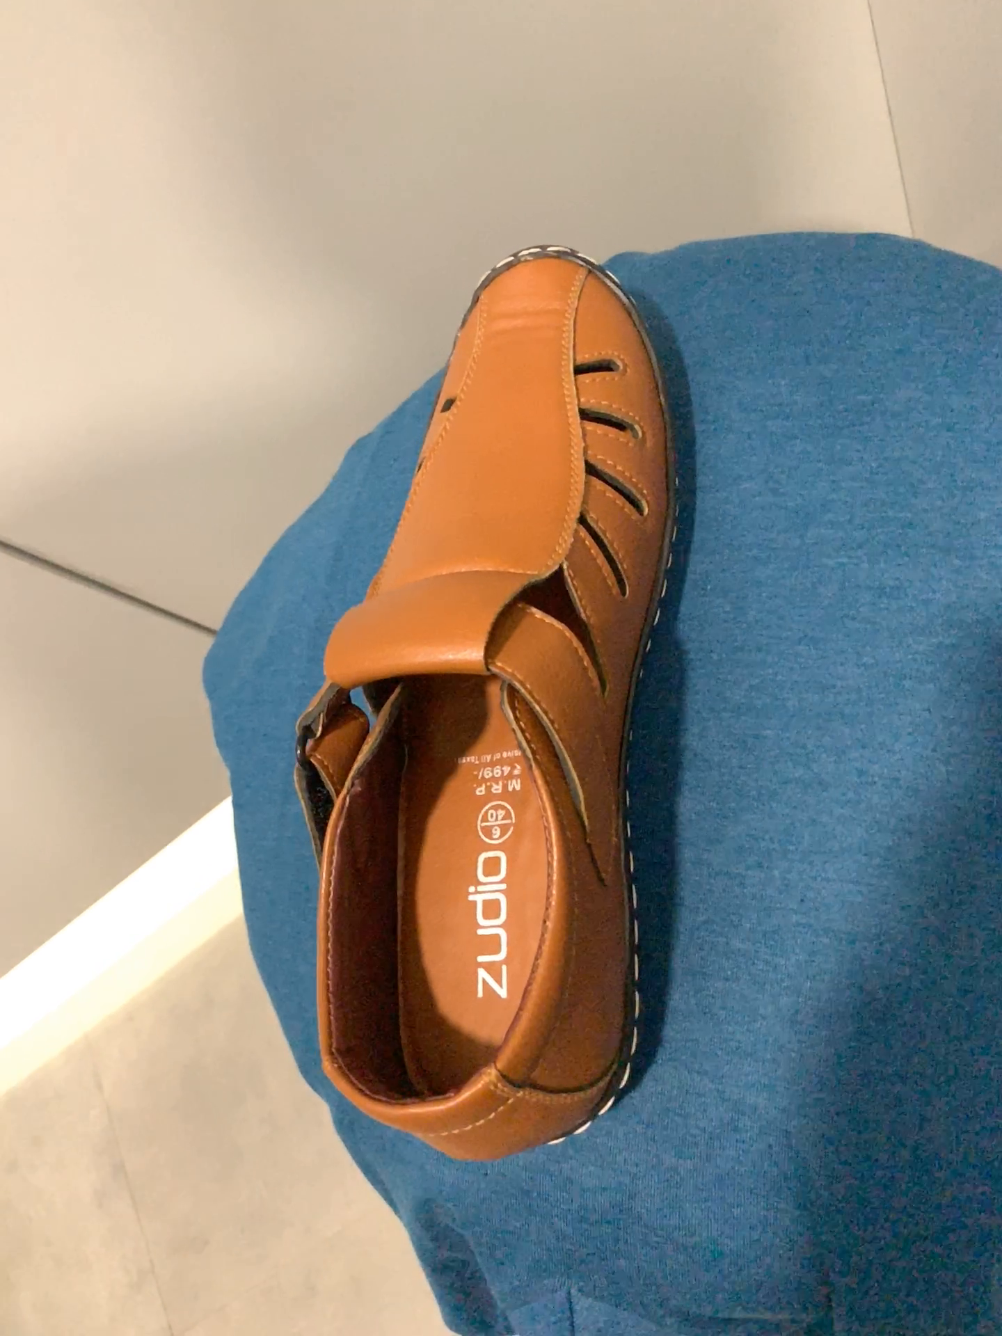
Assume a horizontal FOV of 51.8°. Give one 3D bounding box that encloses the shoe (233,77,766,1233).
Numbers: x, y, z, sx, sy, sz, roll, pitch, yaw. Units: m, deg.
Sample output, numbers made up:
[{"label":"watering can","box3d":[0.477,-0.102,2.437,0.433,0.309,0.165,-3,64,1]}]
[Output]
[{"label":"shoe","box3d":[0.010,-0.006,0.296,0.100,0.100,0.270,-6,73,27]}]
